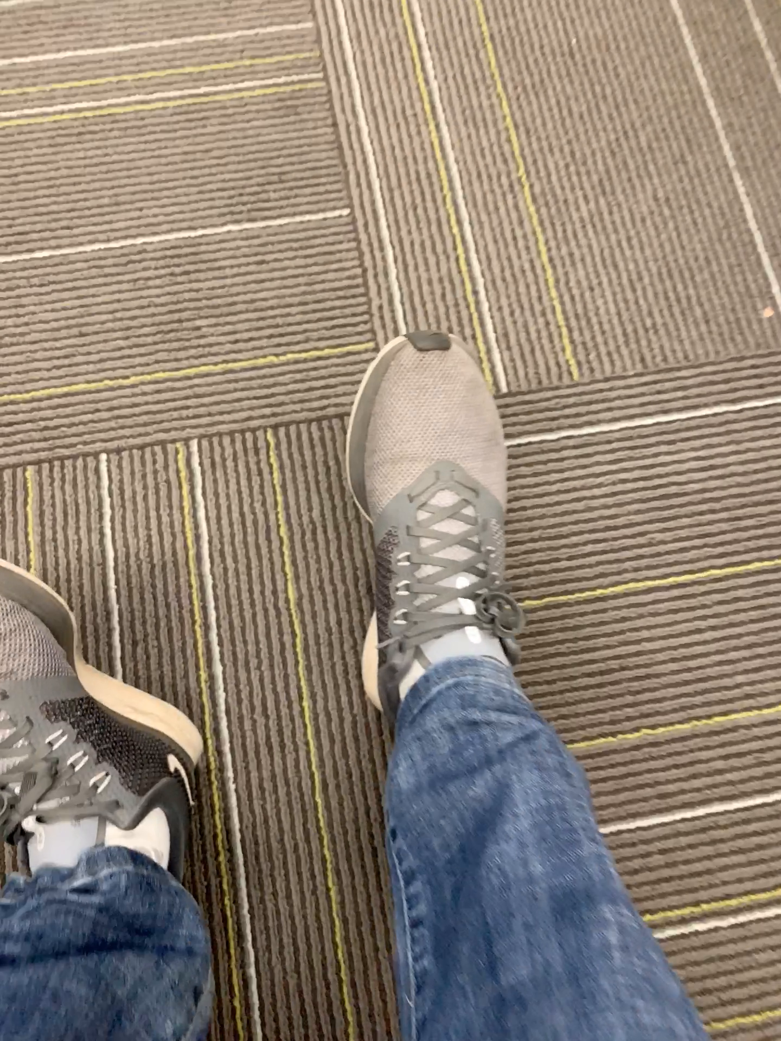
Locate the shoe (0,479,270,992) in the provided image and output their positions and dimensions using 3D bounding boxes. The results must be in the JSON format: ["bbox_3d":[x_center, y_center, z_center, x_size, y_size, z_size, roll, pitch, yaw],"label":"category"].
[{"bbox_3d":[-0.201,0.140,0.461,0.119,0.294,0.122,-29,41,-1],"label":"shoe"}]

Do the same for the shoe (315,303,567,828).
[{"bbox_3d":[0.029,0.024,0.506,0.119,0.122,0.294,-6,111,-7],"label":"shoe"}]
